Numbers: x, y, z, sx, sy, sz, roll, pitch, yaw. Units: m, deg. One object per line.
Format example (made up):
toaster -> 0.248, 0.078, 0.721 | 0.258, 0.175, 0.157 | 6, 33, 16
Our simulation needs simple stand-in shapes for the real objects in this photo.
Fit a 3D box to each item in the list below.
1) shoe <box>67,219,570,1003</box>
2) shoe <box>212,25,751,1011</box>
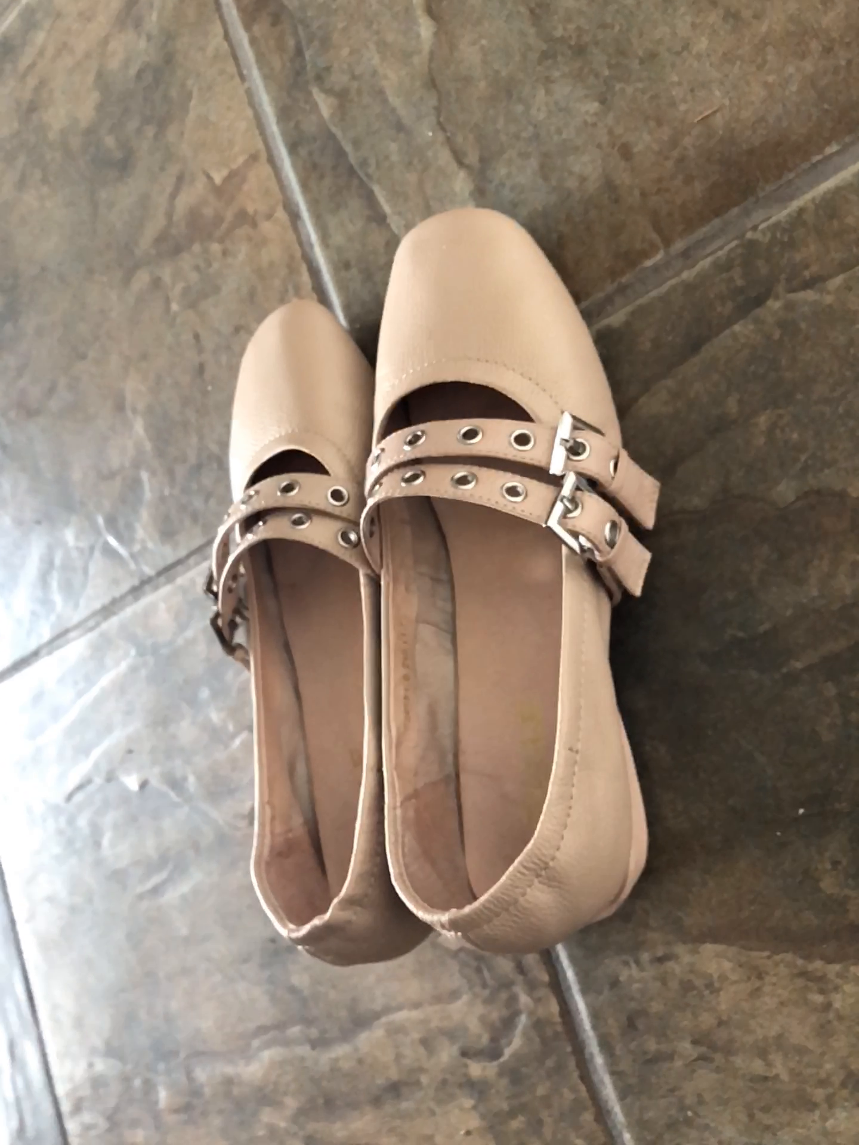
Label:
shoe -> -0.045, 0.016, 0.362 | 0.100, 0.090, 0.250 | -21, 79, 33
shoe -> 0.016, -0.012, 0.297 | 0.090, 0.090, 0.250 | -14, 83, 34
